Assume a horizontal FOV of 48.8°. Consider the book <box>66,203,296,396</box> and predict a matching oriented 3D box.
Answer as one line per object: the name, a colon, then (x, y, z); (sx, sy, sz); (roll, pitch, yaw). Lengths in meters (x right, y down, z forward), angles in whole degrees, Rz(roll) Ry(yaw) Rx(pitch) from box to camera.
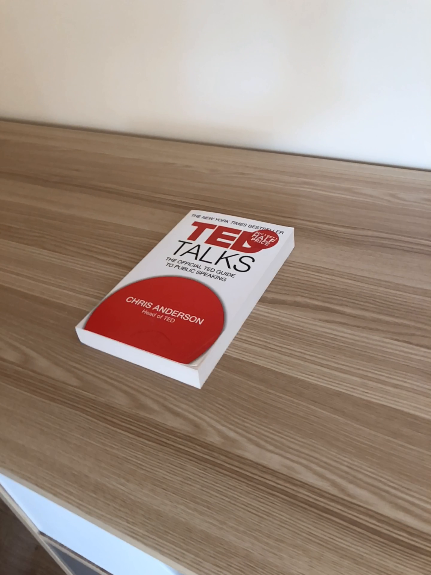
book: (-0.023, -0.006, 0.486); (0.138, 0.030, 0.221); (15, 46, 25)
